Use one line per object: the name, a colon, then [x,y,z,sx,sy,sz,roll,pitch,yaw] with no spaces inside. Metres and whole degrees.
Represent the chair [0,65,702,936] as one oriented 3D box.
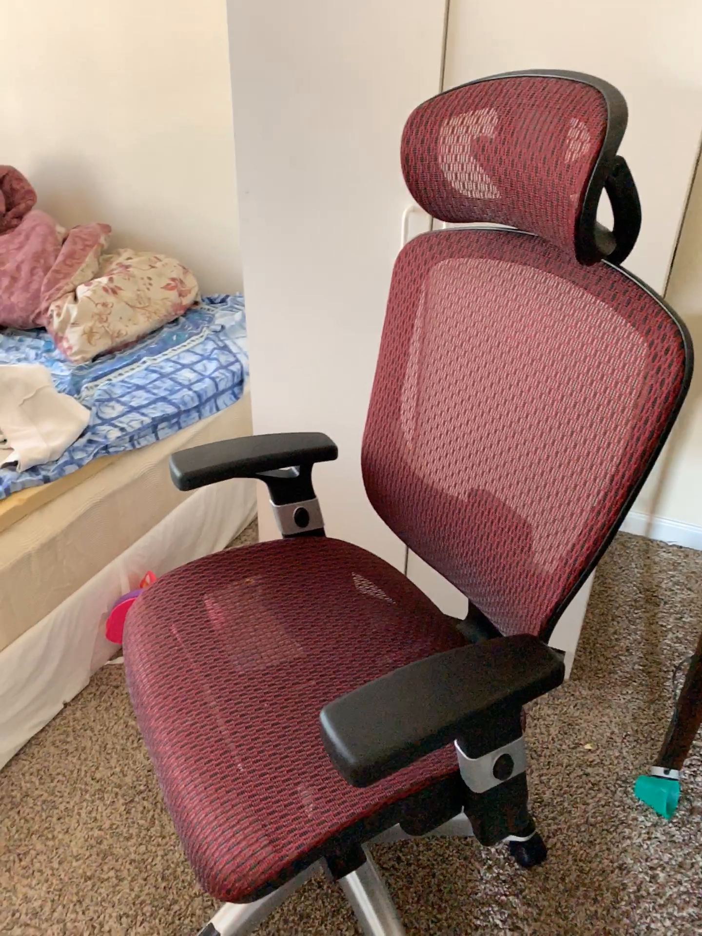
chair: [0.024,0.165,0.892,0.810,1.155,0.733,-12,32,-20]
